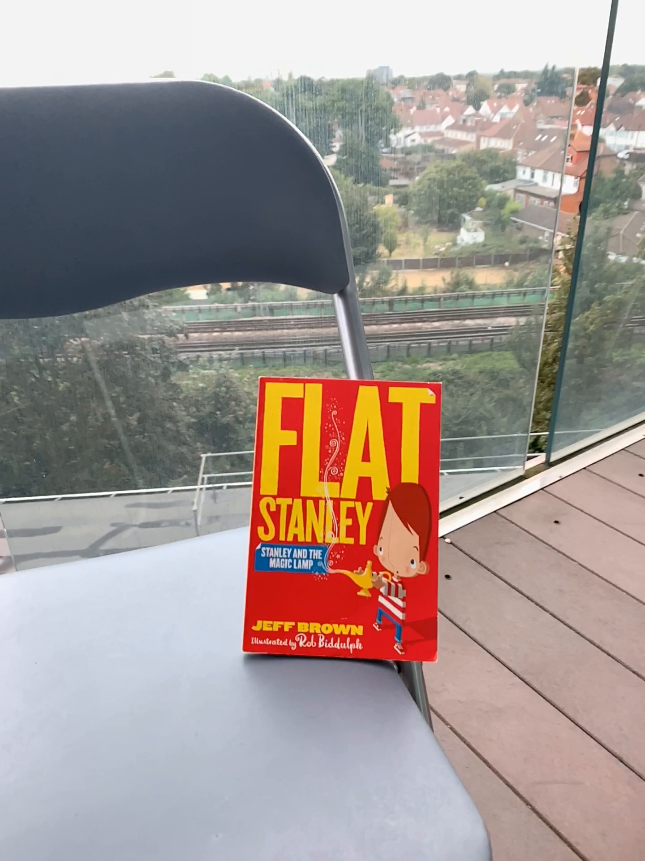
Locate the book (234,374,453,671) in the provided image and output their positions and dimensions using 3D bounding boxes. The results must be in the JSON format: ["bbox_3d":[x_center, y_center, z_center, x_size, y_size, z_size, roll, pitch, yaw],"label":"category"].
[{"bbox_3d":[0.016,0.058,0.449,0.140,0.191,0.020,1,-7,6],"label":"book"}]
